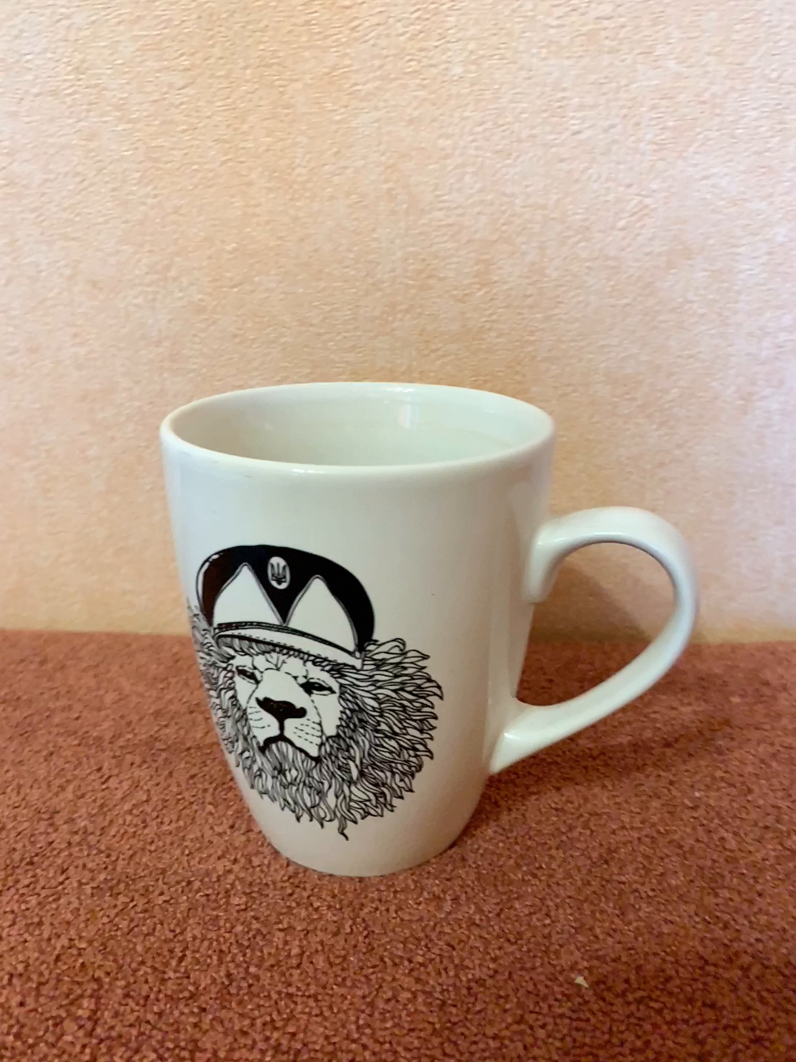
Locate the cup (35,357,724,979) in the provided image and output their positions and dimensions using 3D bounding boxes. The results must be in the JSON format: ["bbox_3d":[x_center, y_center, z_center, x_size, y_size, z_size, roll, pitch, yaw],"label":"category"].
[{"bbox_3d":[0.007,0.016,0.206,0.126,0.095,0.106,5,23,18],"label":"cup"}]
